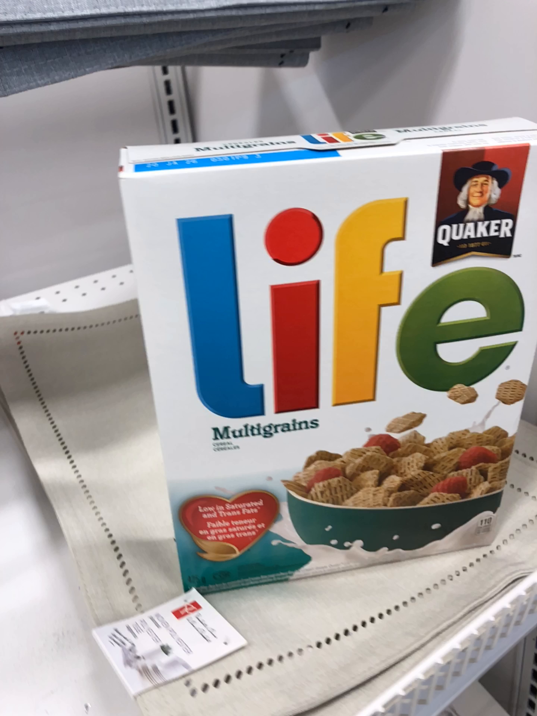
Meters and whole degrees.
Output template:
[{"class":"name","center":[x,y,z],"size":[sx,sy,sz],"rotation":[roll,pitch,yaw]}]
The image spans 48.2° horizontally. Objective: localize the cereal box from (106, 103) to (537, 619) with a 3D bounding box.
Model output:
[{"class":"cereal box","center":[0.038,0.013,0.344],"size":[0.210,0.279,0.060],"rotation":[-6,30,-8]}]
